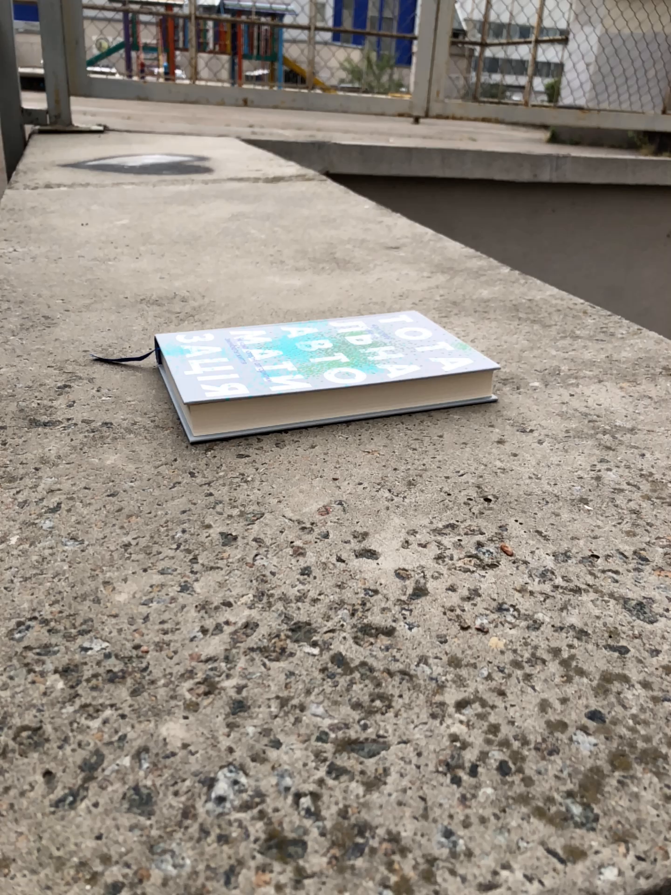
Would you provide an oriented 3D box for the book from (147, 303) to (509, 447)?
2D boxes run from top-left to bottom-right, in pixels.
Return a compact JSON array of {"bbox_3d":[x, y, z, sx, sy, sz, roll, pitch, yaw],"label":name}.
[{"bbox_3d":[-0.013,-0.062,0.537,0.221,0.030,0.157,-8,28,-18],"label":"book"}]
